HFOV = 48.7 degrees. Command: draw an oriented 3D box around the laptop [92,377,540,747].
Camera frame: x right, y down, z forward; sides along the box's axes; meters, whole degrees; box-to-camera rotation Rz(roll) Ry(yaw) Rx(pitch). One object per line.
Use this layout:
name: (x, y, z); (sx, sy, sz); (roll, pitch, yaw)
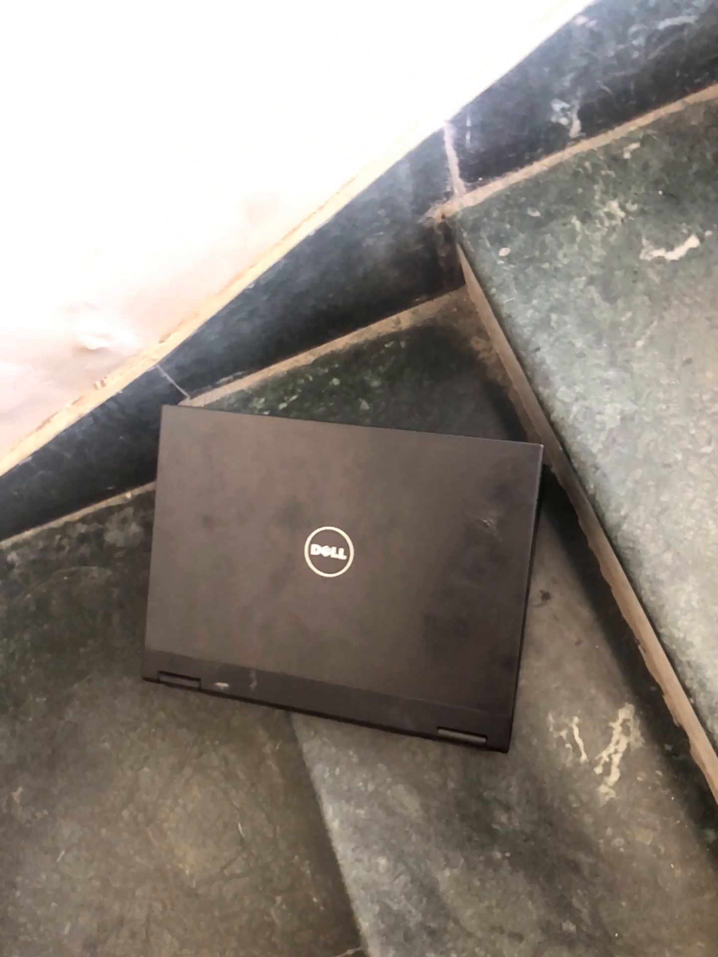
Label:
laptop: (-0.024, 0.060, 0.628); (0.302, 0.095, 0.232); (7, 73, 13)
